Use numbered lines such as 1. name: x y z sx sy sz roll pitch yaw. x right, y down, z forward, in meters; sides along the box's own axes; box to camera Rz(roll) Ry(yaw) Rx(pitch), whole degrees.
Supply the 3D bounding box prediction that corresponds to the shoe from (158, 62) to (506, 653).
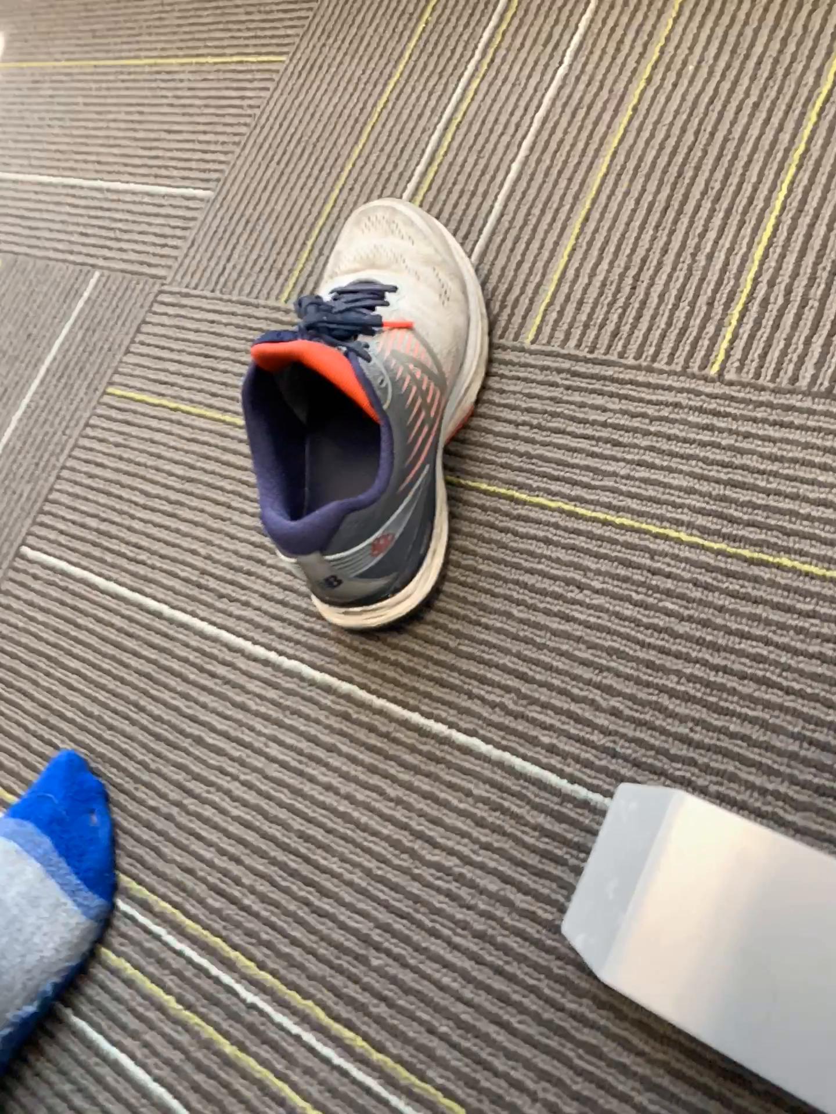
1. shoe: -0.034 -0.107 0.481 0.110 0.109 0.300 -1 69 25
